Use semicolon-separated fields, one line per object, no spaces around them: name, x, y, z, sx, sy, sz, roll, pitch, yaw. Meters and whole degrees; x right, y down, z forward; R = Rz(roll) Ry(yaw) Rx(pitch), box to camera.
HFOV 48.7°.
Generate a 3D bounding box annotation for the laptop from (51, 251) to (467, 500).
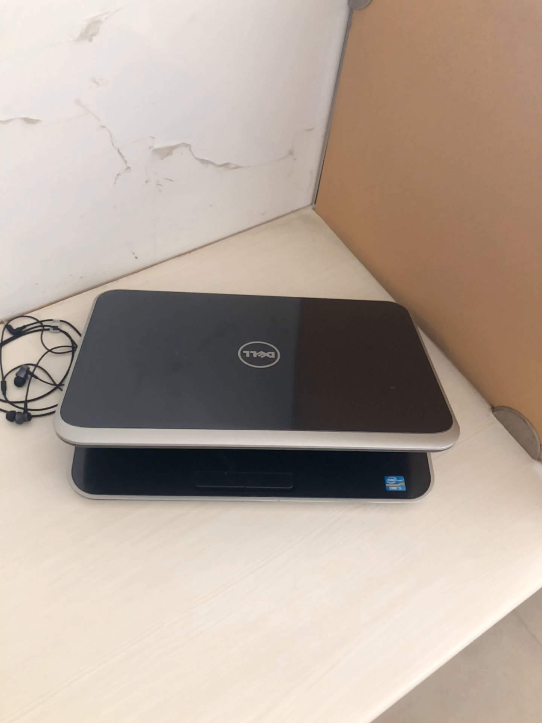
laptop;-0.011;0.011;0.619;0.357;0.094;0.239;2;55;-5
